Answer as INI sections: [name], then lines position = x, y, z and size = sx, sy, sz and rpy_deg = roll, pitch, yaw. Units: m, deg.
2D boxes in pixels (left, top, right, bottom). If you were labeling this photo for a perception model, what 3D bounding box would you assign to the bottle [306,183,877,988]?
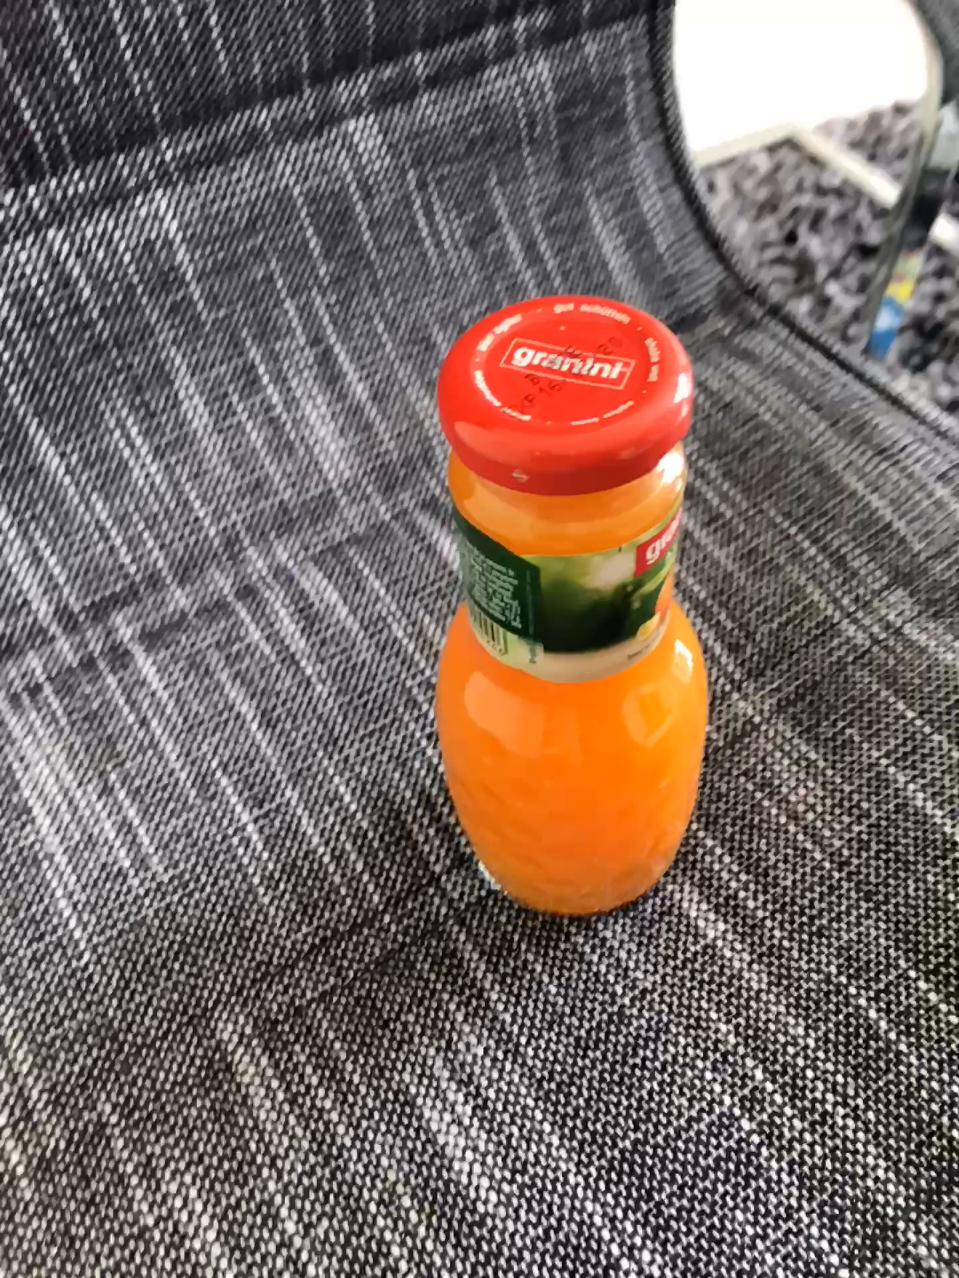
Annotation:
[bottle]
position = 0.021, 0.002, 0.218
size = 0.060, 0.149, 0.070
rpy_deg = 23, 58, 17
